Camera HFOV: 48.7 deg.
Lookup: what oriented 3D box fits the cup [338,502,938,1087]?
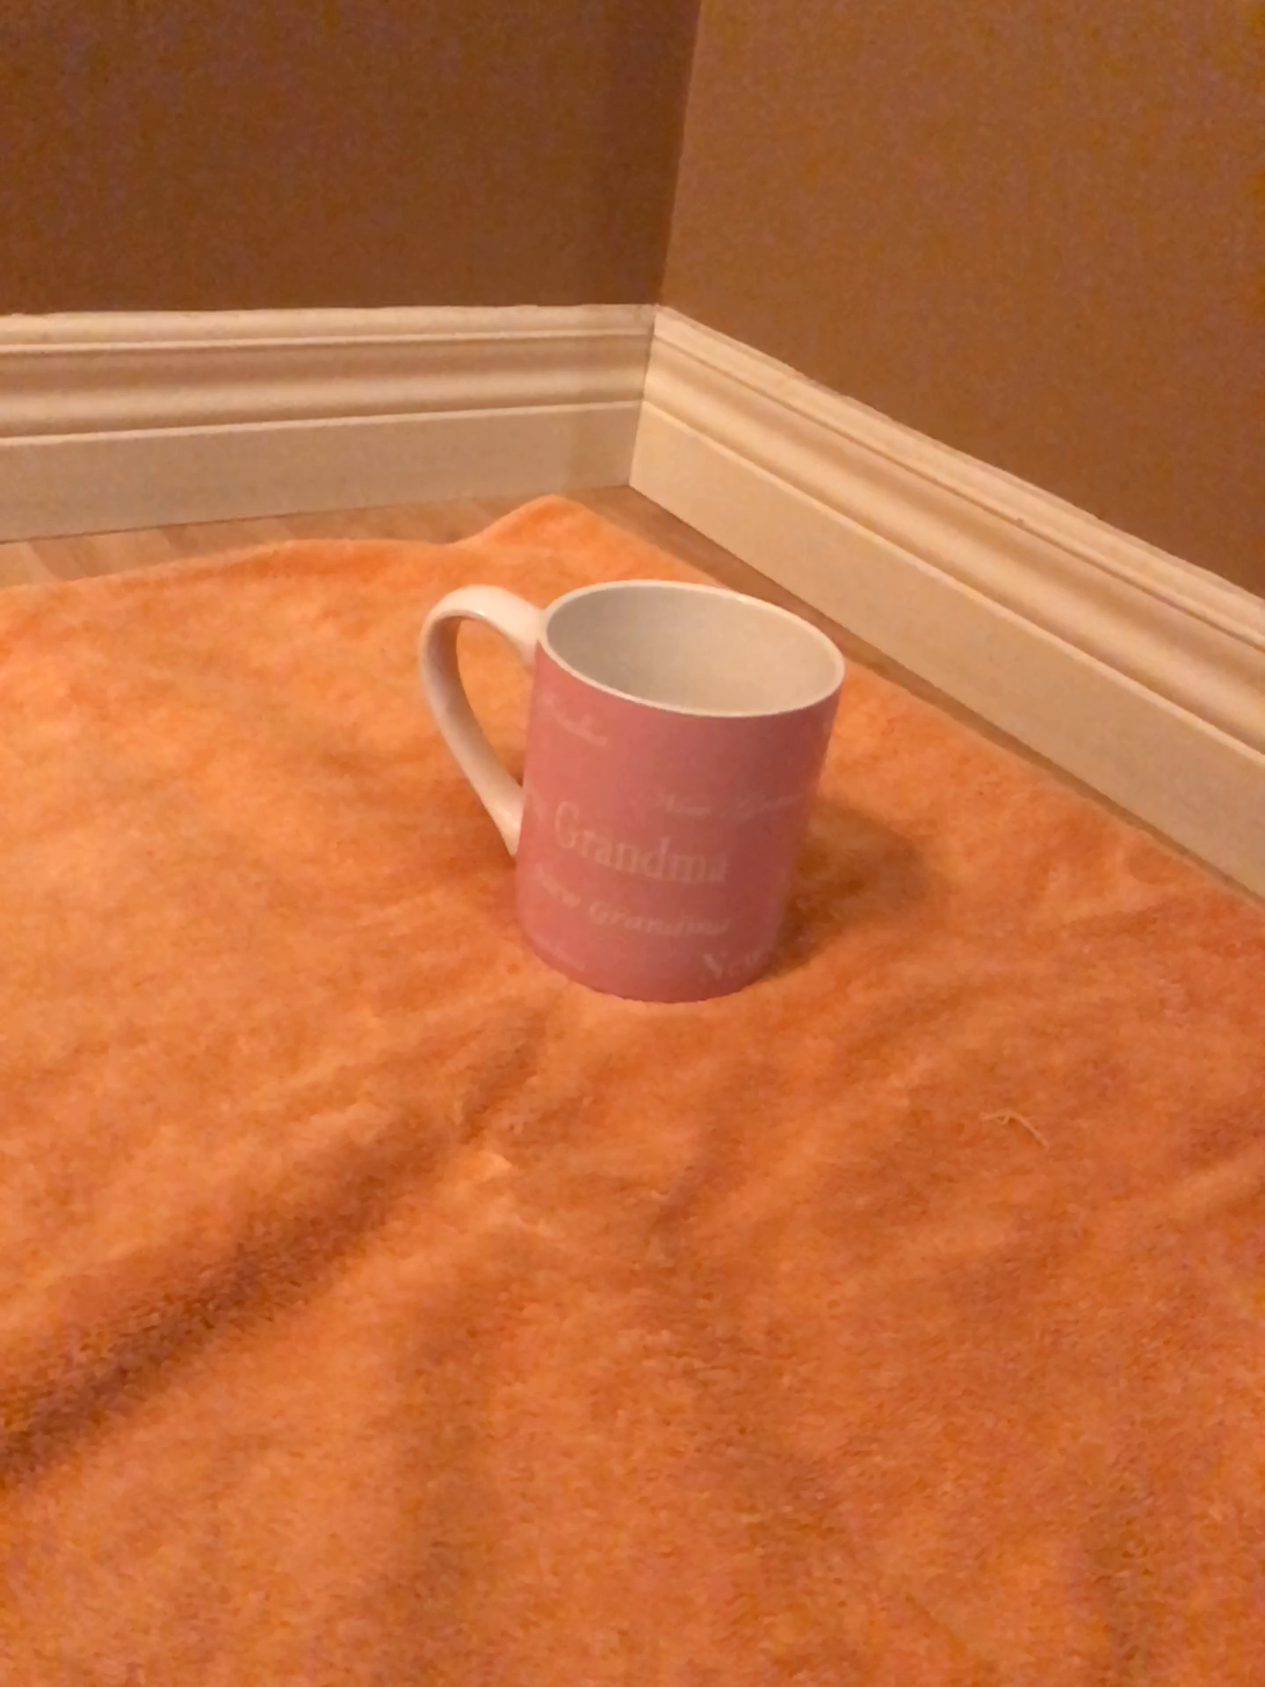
[{"bbox_3d":[-0.002,-0.024,0.446,0.140,0.109,0.110,27,36,26],"label":"cup"}]
